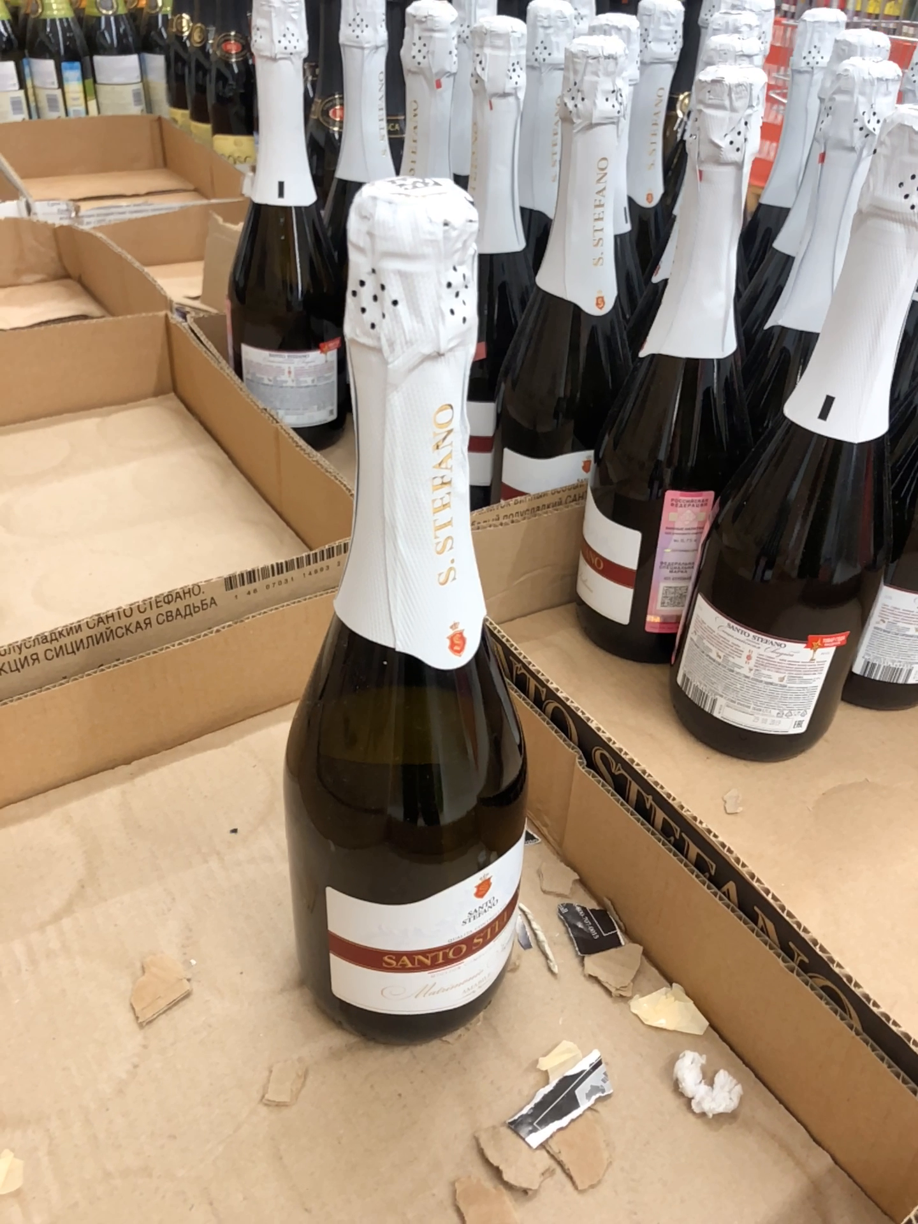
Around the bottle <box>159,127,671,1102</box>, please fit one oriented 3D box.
[{"bbox_3d":[-0.017,0.018,0.338,0.090,0.308,0.090,2,35,-1],"label":"bottle"}]
